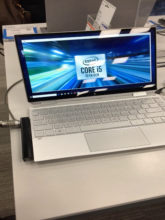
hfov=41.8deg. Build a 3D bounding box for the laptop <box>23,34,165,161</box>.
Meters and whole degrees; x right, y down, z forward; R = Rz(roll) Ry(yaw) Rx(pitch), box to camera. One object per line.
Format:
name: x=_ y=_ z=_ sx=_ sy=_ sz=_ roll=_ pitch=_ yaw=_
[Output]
laptop: x=0.057 y=-0.044 z=0.466 sx=0.329 sy=0.150 sz=0.249 roll=-7 pitch=41 yaw=-7
